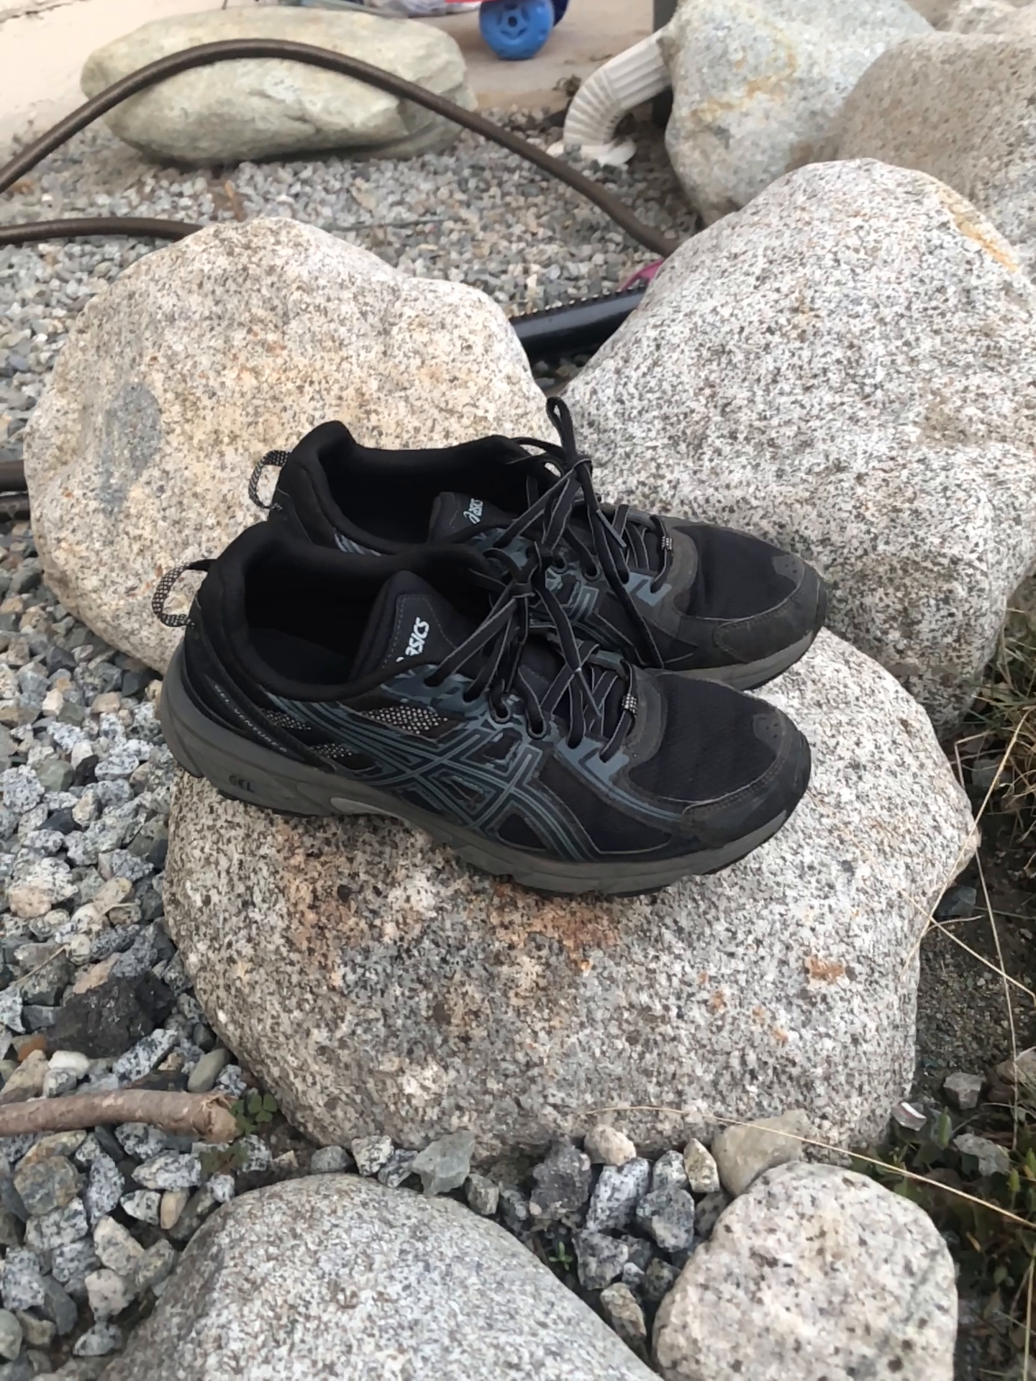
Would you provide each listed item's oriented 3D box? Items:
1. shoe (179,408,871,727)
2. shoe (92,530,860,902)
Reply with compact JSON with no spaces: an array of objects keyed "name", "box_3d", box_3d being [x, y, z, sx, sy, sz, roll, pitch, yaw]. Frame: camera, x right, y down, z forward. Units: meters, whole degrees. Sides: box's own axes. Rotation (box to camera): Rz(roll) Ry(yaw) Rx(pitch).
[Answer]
[{"name":"shoe","box_3d":[0.006,-0.062,0.552,0.290,0.099,0.121,1,39,6]},{"name":"shoe","box_3d":[-0.012,0.006,0.488,0.280,0.099,0.121,1,39,6]}]
